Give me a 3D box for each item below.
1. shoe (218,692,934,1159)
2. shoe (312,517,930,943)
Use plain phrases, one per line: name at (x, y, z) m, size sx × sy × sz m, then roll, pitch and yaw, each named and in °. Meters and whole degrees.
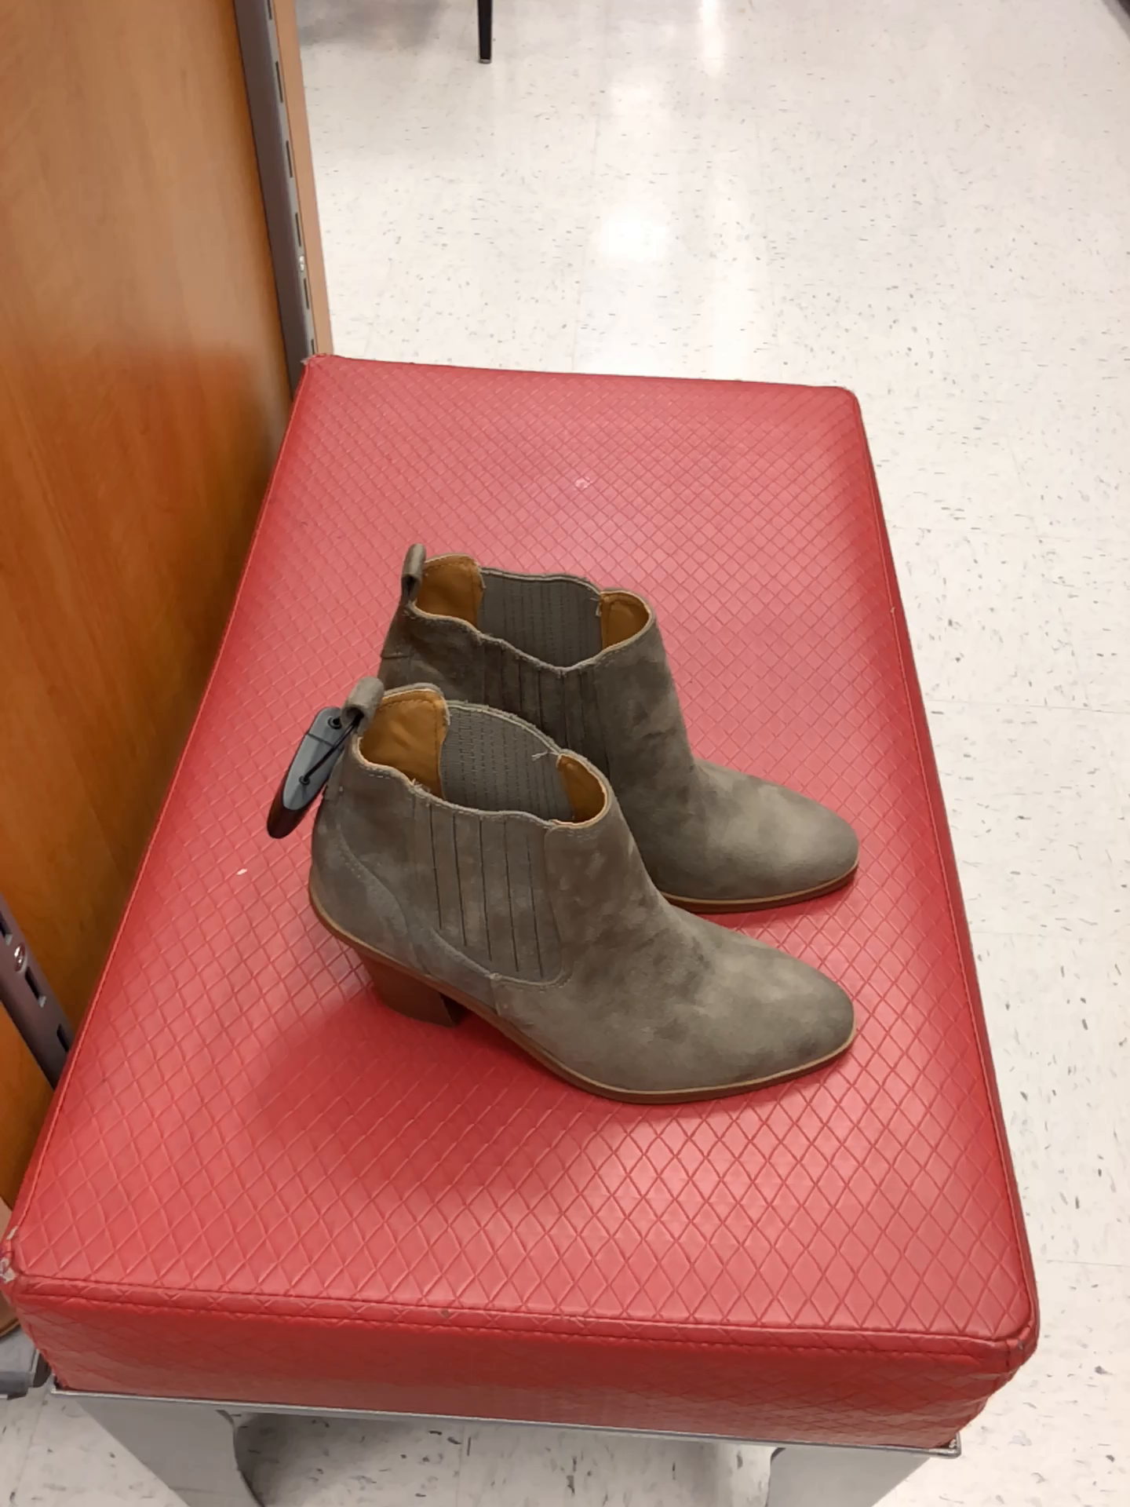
shoe at (0.005, 0.076, 0.524) m, size 0.250 × 0.160 × 0.097 m, roll 5°, pitch 48°, yaw 3°
shoe at (0.024, -0.009, 0.593) m, size 0.250 × 0.150 × 0.107 m, roll 5°, pitch 48°, yaw 3°
